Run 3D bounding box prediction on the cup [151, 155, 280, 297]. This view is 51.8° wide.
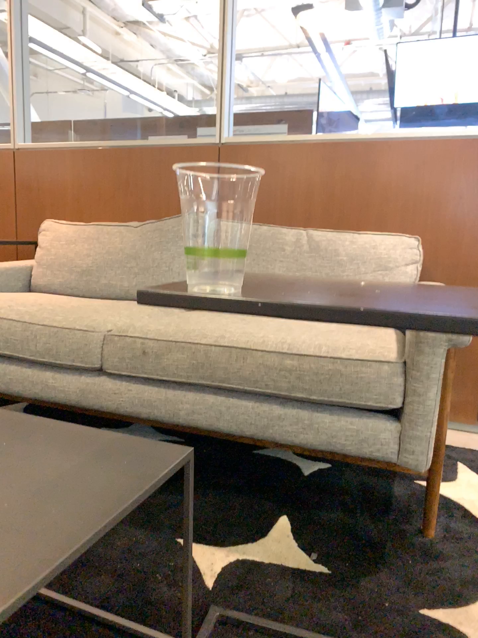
[{"bbox_3d":[-0.022,-0.096,0.520,0.100,0.130,0.100,2,9,0],"label":"cup"}]
